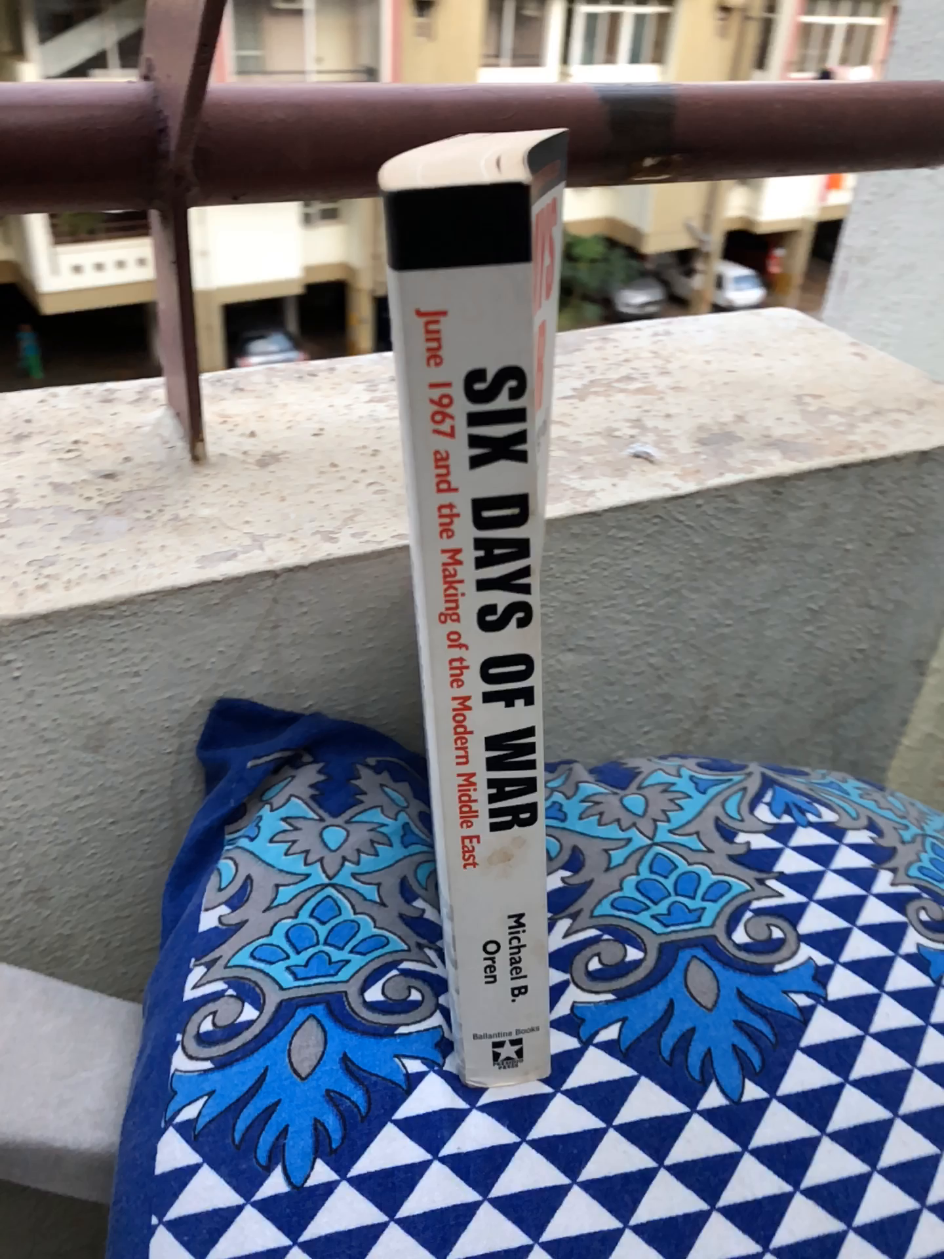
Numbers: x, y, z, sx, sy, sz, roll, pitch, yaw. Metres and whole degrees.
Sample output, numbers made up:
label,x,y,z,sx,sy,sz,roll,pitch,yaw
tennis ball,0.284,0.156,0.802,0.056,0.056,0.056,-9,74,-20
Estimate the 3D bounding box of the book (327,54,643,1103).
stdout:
label,x,y,z,sx,sy,sz,roll,pitch,yaw
book,-0.001,-0.019,0.310,0.050,0.249,0.181,-2,33,-2
